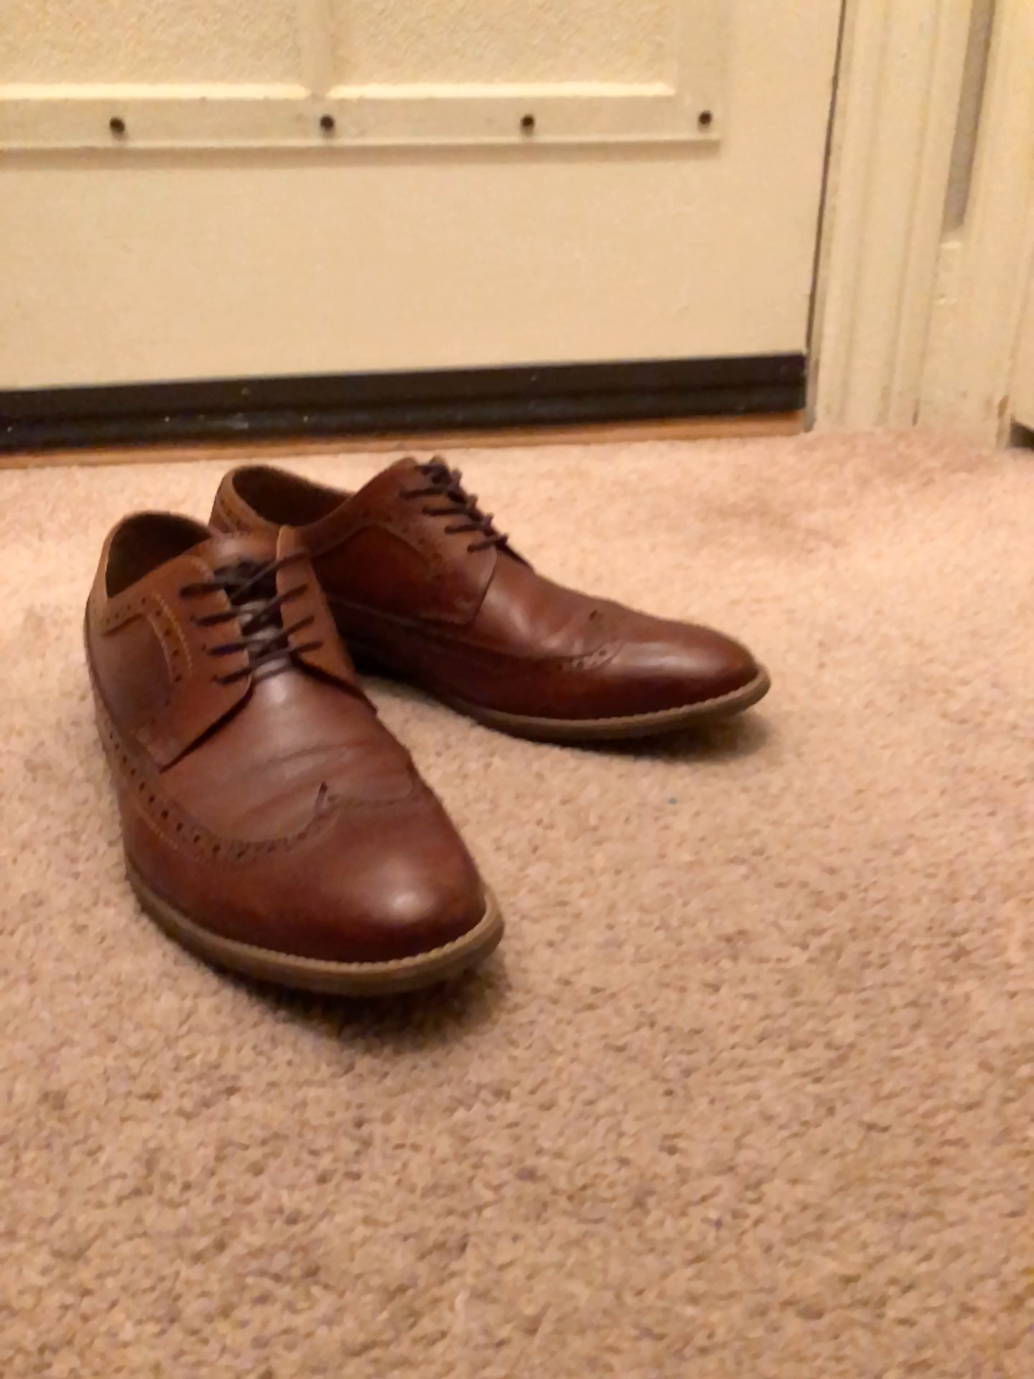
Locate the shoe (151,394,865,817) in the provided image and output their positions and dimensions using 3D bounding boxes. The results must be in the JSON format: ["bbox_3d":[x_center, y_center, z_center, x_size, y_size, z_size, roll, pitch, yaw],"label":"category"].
[{"bbox_3d":[-0.011,-0.057,0.547,0.310,0.114,0.116,14,30,27],"label":"shoe"}]

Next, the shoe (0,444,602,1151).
[{"bbox_3d":[-0.106,0.004,0.438,0.115,0.114,0.311,-16,30,-28],"label":"shoe"}]
